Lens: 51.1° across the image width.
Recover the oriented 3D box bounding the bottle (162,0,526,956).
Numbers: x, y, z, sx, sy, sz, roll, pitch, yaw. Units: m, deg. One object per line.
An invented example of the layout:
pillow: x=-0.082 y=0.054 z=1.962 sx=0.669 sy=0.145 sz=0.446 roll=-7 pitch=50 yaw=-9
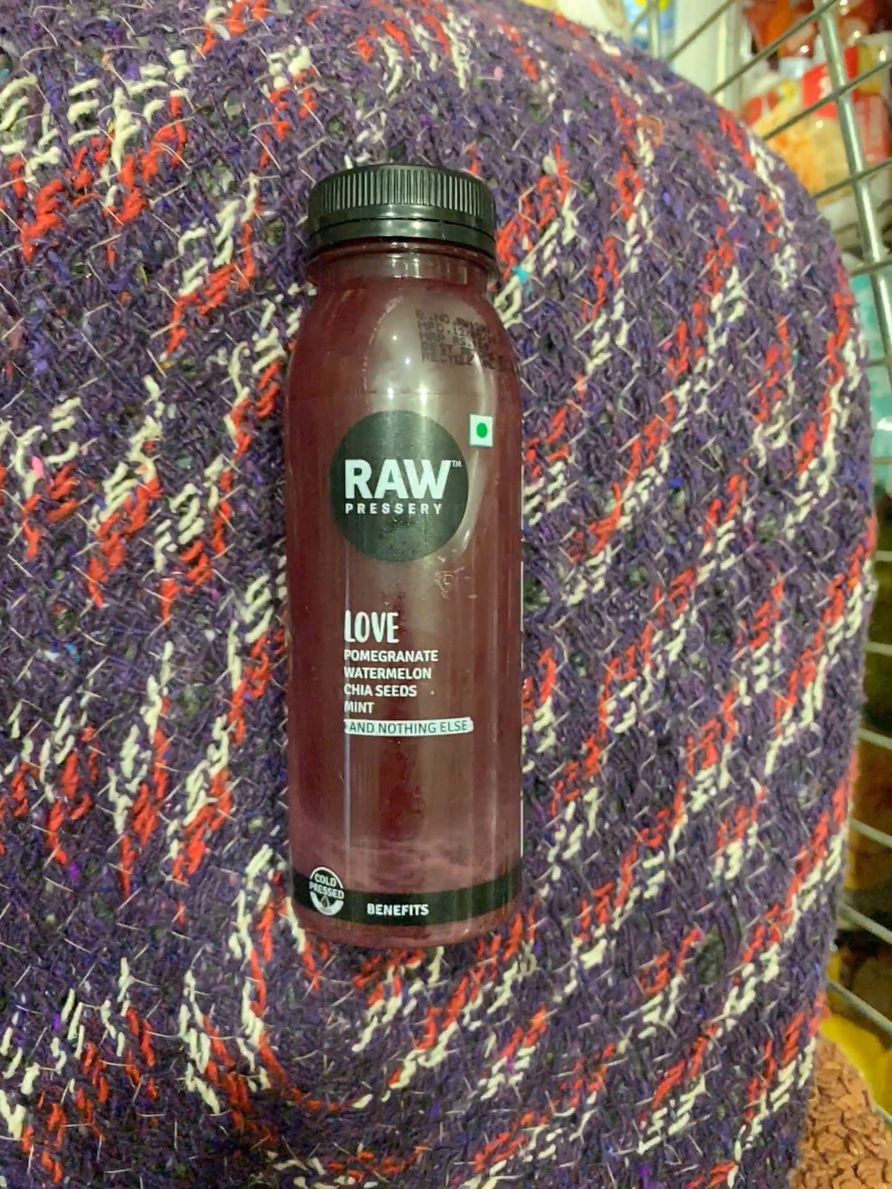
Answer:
bottle: x=-0.017 y=-0.023 z=0.191 sx=0.060 sy=0.060 sz=0.170 roll=-1 pitch=92 yaw=-1
